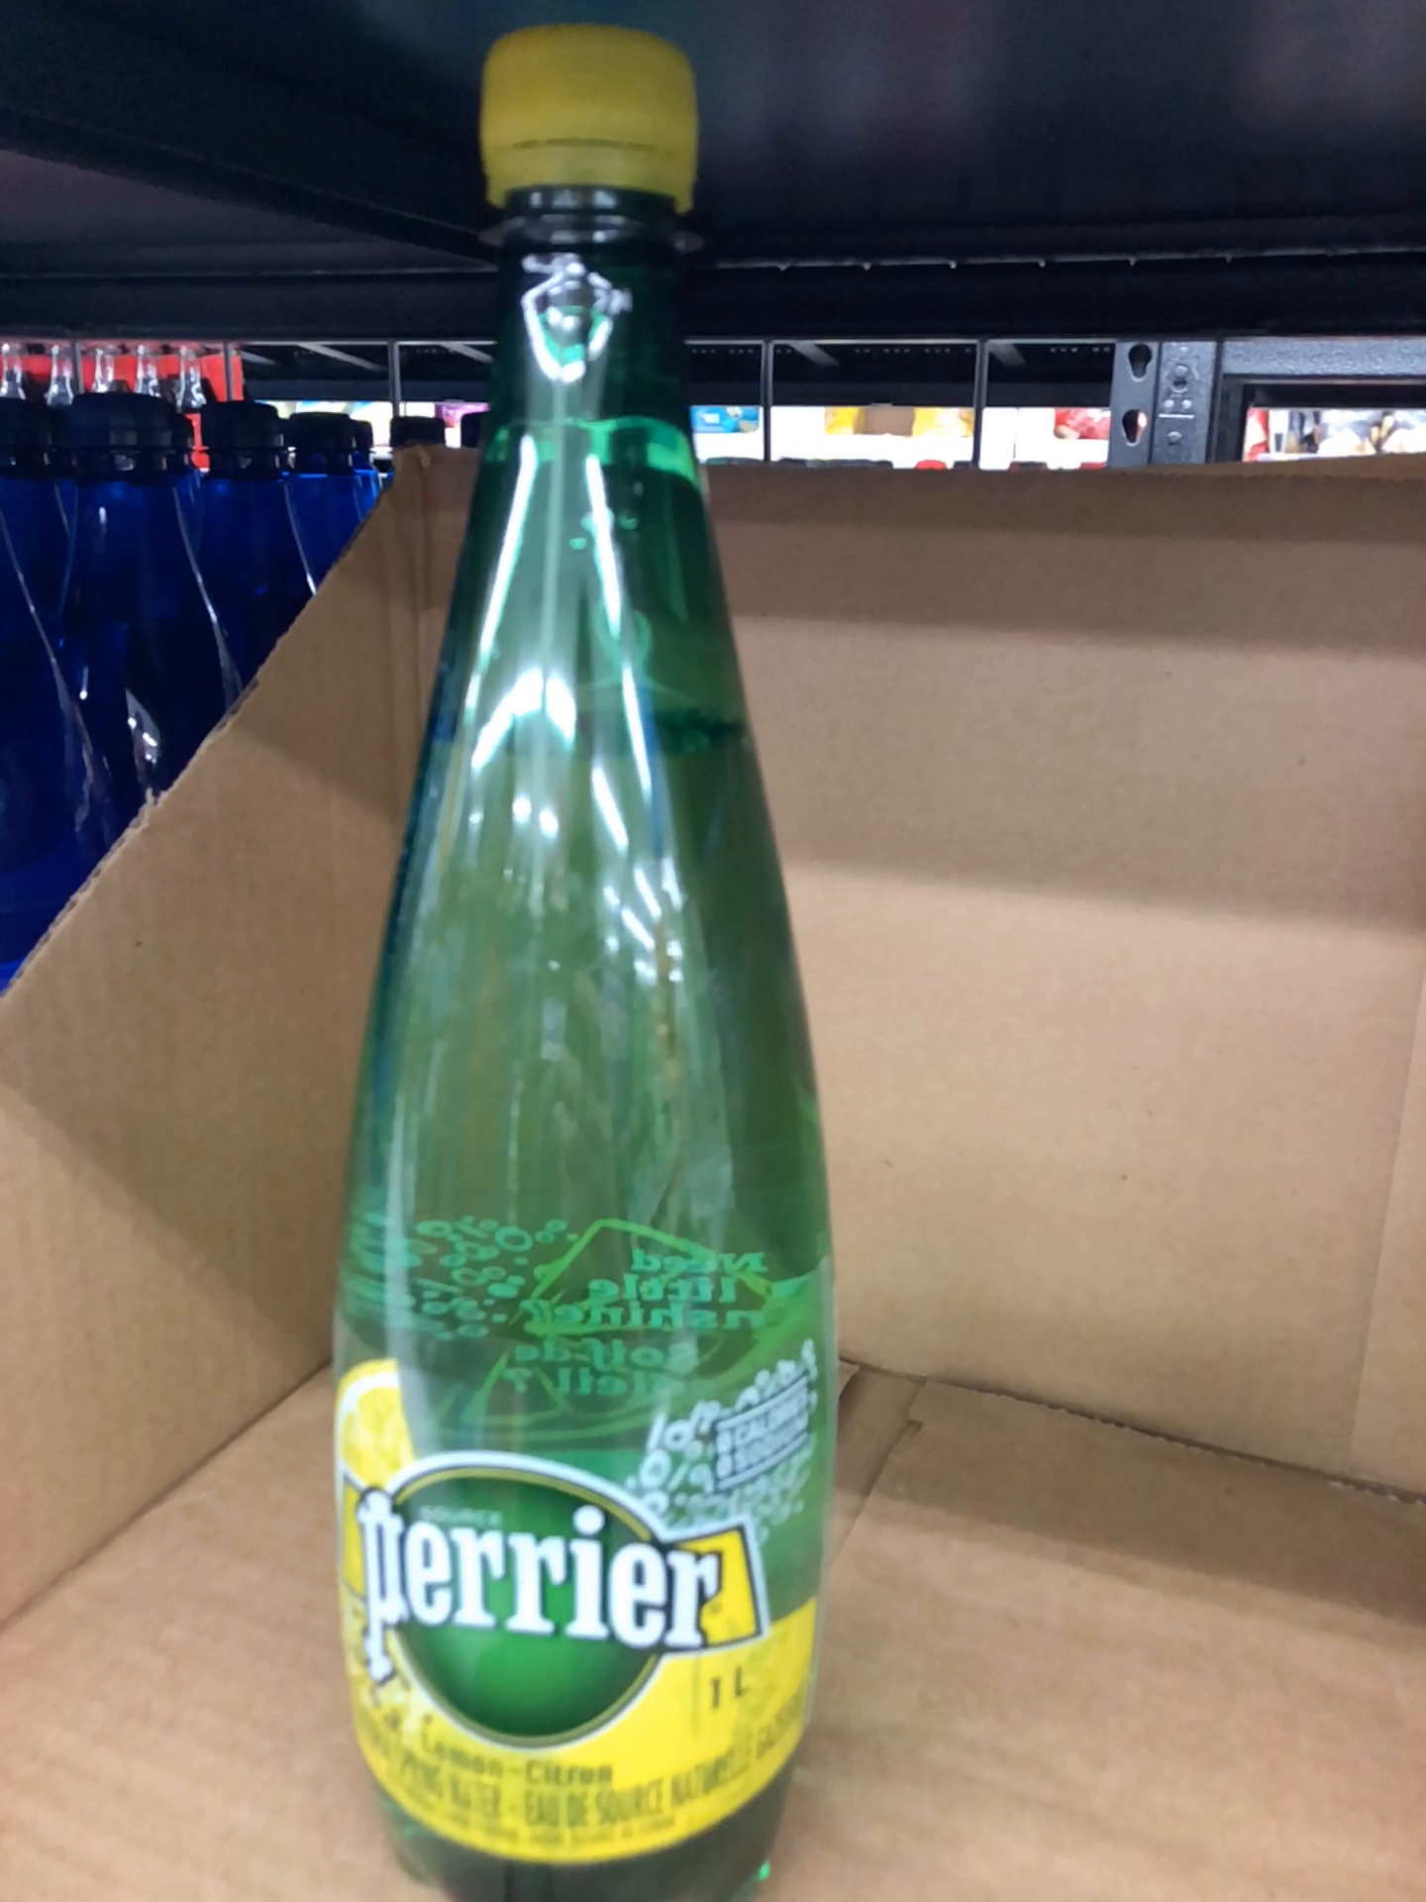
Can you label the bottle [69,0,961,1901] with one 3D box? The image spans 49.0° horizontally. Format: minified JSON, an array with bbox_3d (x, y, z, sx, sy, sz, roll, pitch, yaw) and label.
[{"bbox_3d":[-0.023,0.017,0.262,0.100,0.318,0.080,5,17,14],"label":"bottle"}]
